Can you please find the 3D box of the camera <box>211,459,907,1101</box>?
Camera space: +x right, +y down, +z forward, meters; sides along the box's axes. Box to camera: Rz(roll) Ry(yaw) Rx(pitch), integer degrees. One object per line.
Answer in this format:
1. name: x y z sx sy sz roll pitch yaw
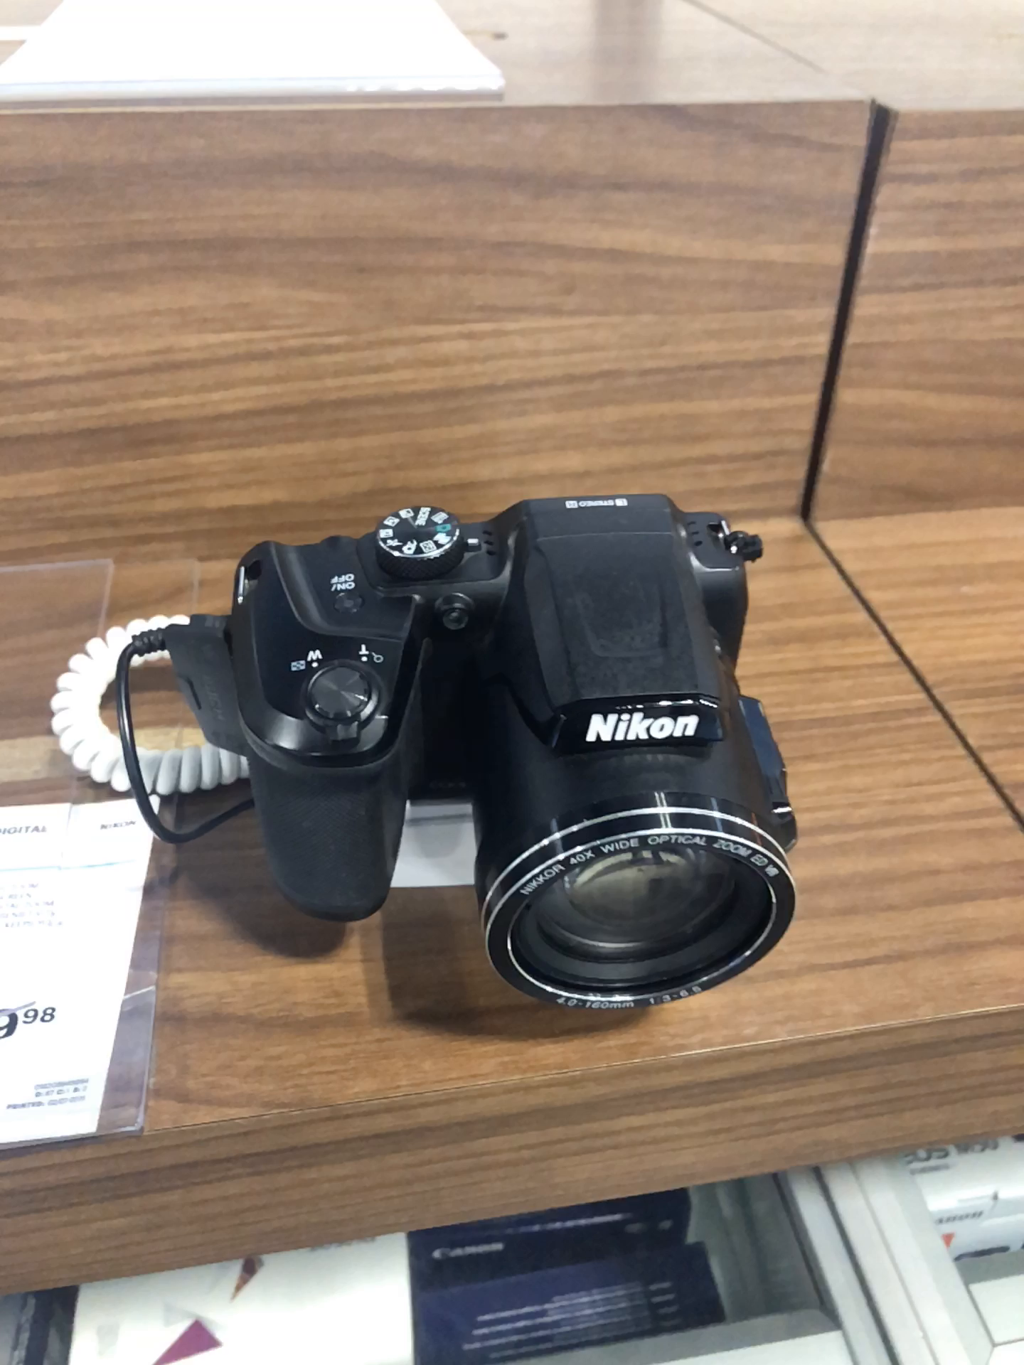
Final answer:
1. camera: 0.001 0.014 0.237 0.110 0.080 0.096 -5 37 -8
